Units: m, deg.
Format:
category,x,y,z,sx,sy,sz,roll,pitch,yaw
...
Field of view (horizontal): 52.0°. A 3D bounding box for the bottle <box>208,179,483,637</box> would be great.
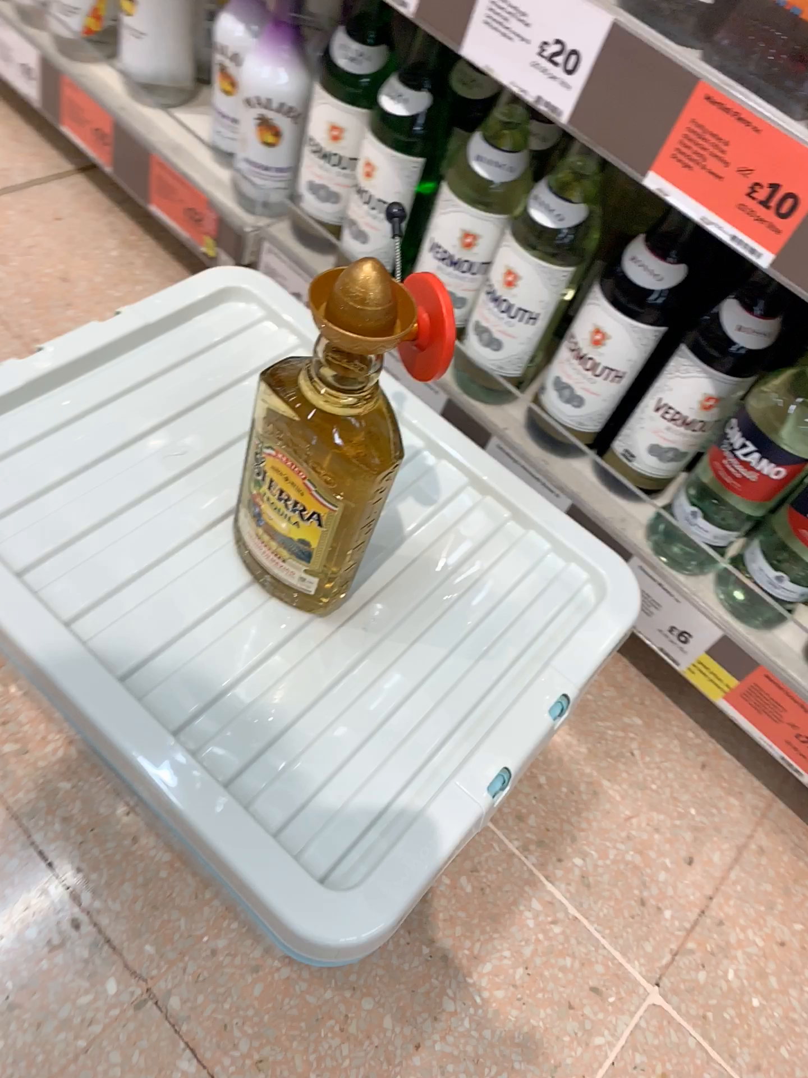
category,x,y,z,sx,sy,sz,roll,pitch,yaw
bottle,-0.050,-0.055,0.476,0.100,0.258,0.058,41,54,14
